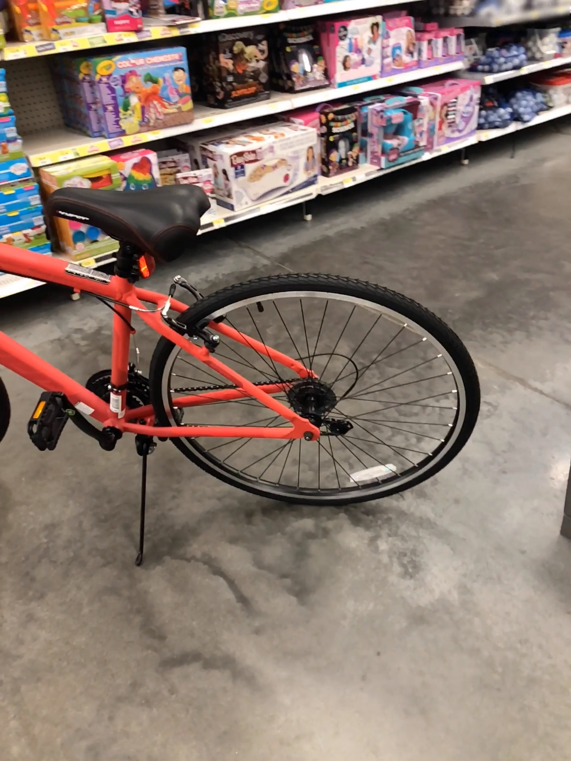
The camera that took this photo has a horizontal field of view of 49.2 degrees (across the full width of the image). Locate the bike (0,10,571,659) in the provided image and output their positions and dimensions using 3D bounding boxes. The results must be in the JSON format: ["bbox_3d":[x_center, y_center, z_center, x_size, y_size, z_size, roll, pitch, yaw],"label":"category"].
[{"bbox_3d":[-0.500,-0.035,1.232,1.686,1.000,0.617,-3,35,5],"label":"bike"}]
